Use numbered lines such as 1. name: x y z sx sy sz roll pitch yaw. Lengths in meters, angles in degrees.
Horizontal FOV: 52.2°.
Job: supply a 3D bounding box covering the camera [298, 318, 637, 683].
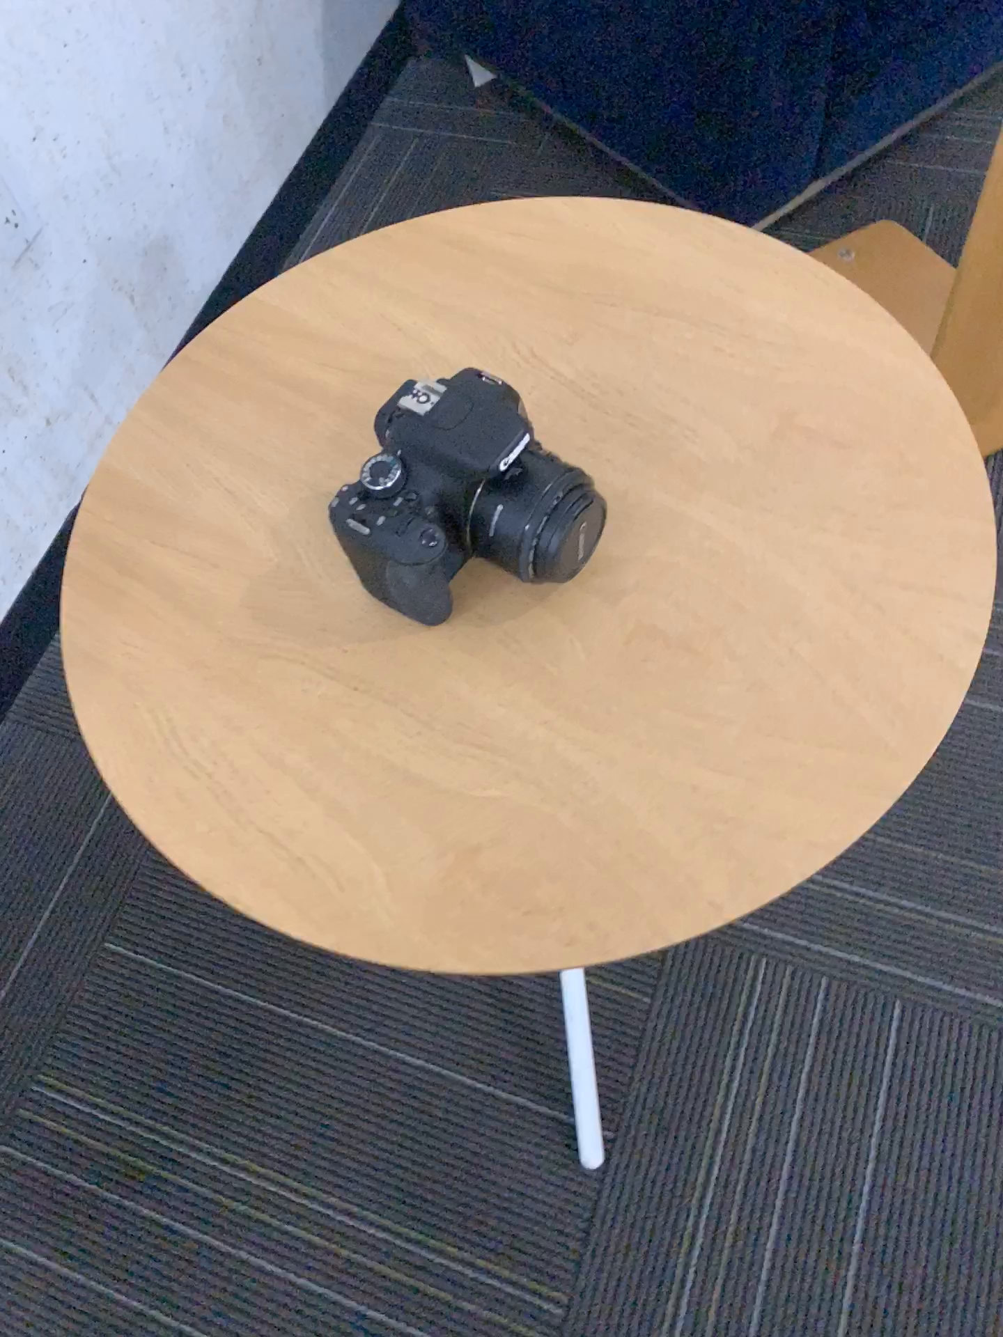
1. camera: -0.011 -0.092 0.559 0.117 0.100 0.130 30 69 22
